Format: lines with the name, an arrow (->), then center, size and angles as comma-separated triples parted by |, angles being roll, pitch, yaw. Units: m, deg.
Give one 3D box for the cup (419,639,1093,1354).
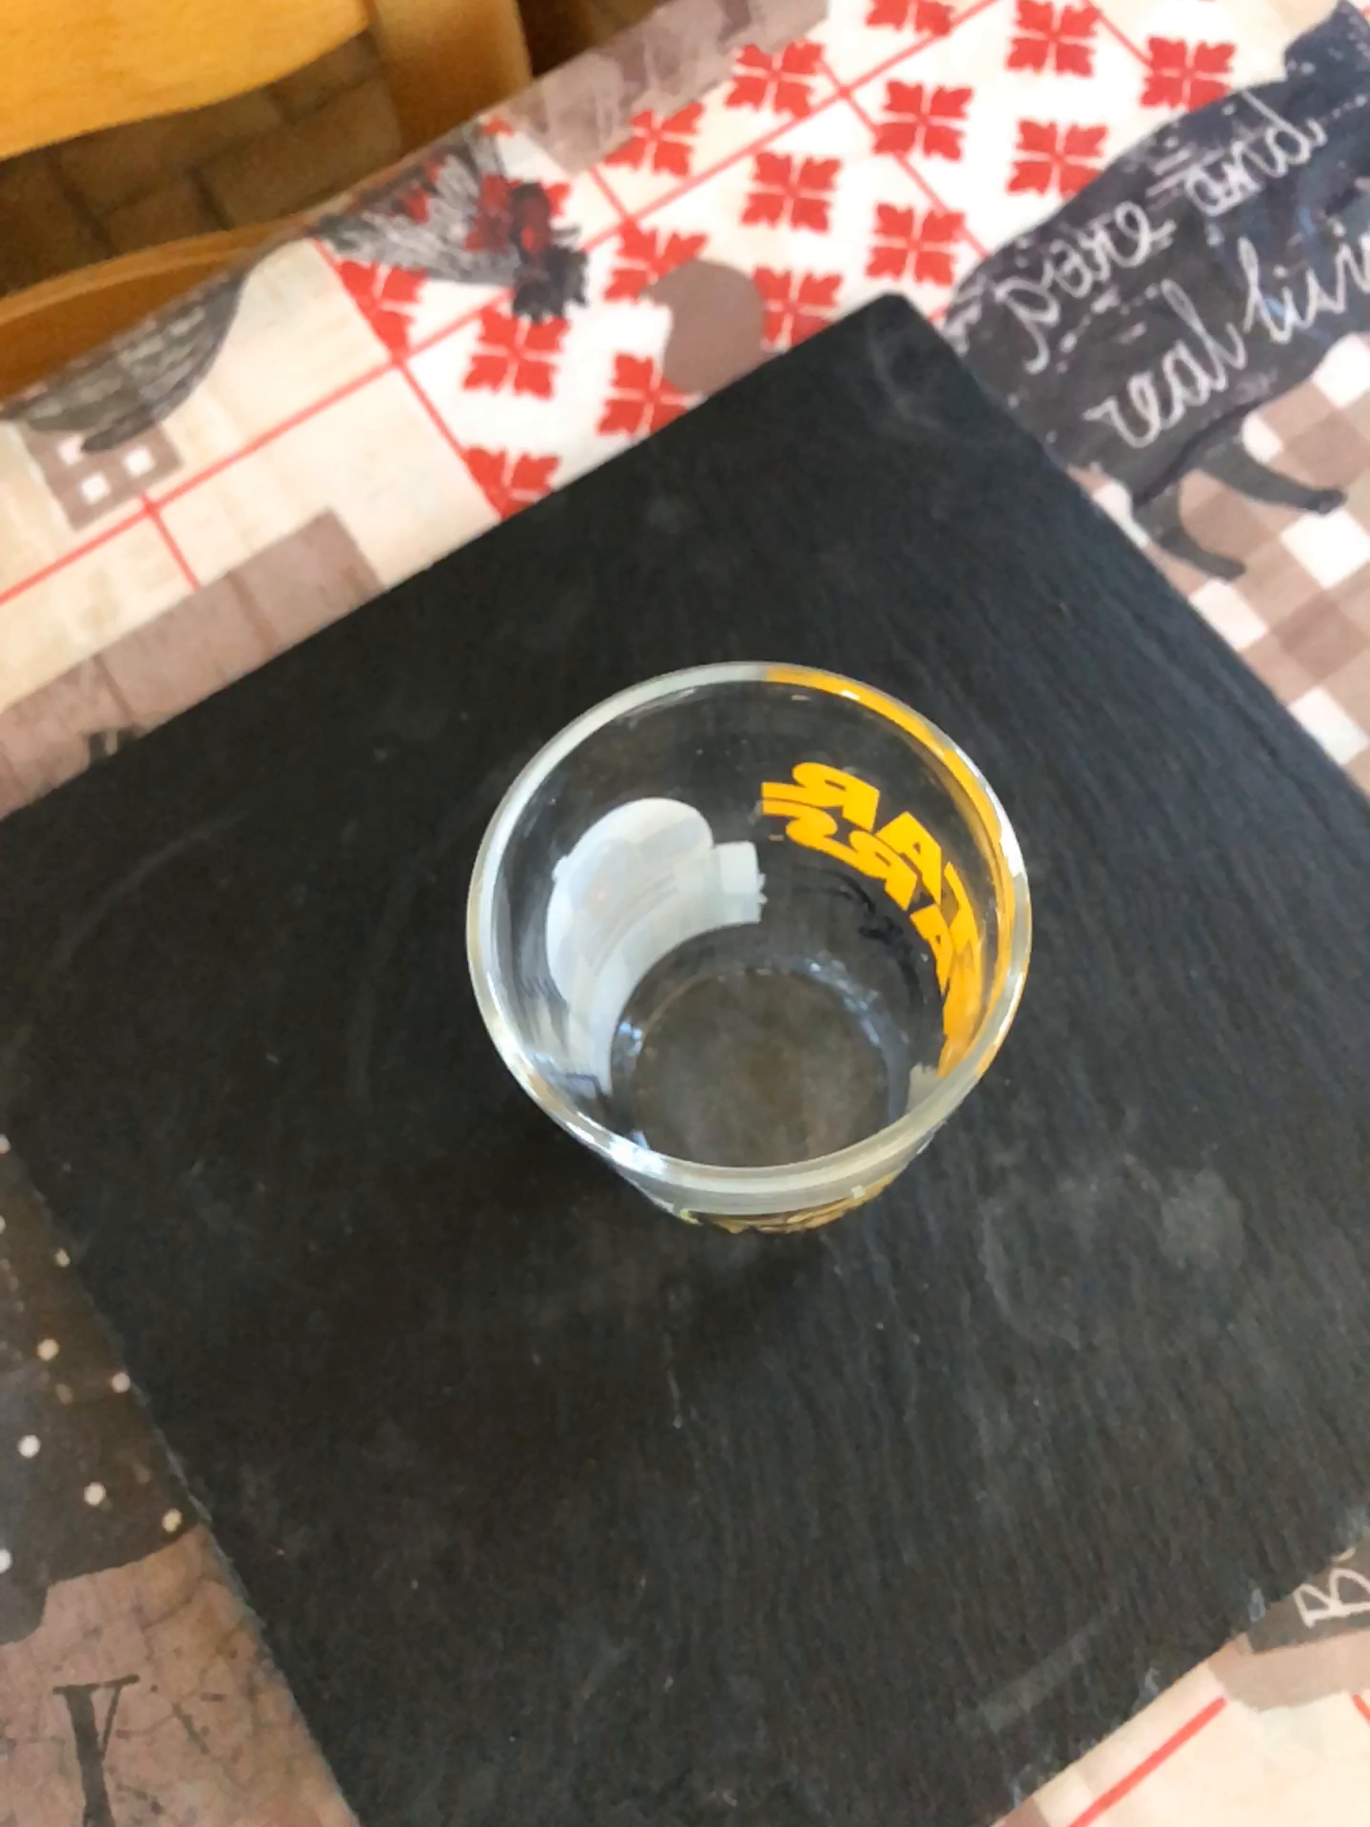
cup -> 0.009, 0.020, 0.220 | 0.070, 0.100, 0.070 | -1, 70, 4
